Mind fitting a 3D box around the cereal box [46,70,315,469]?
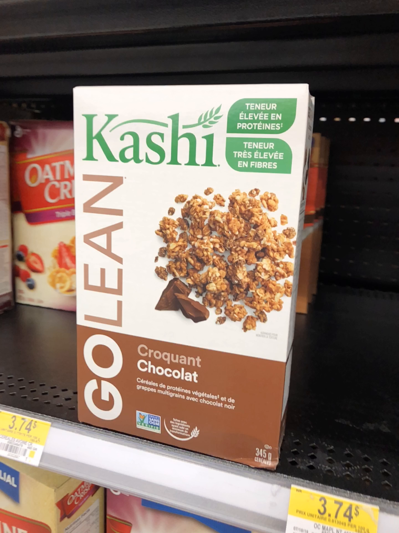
[{"bbox_3d":[-0.018,0.000,0.319,0.170,0.249,0.050,6,14,18],"label":"cereal box"}]
